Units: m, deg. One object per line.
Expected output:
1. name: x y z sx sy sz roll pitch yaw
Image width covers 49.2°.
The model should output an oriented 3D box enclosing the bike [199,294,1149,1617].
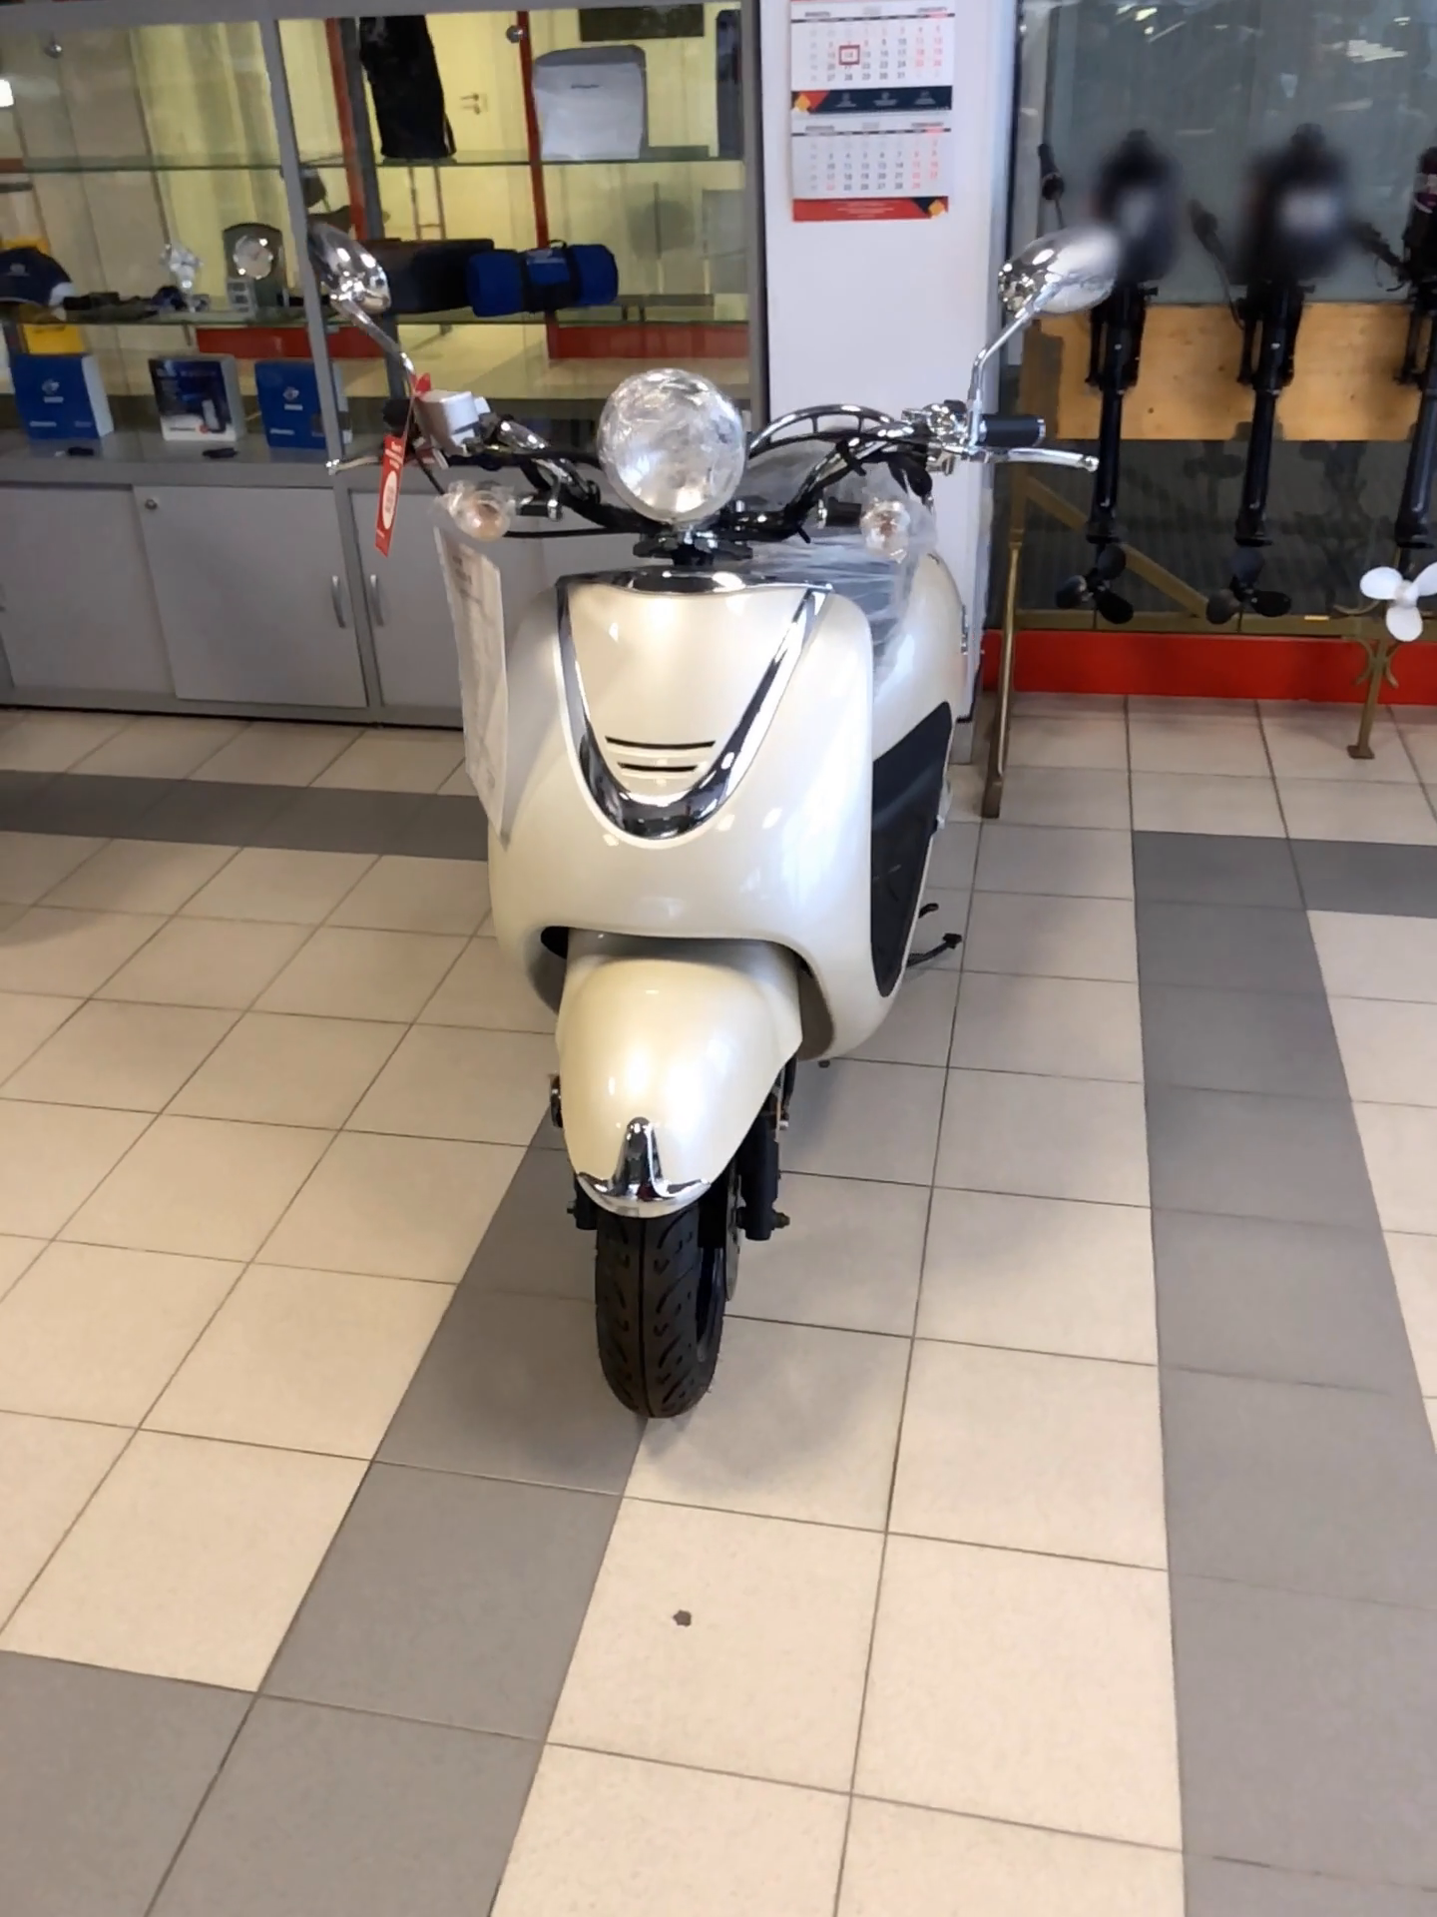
1. bike: 0.120 -0.235 2.196 0.805 0.963 1.691 4 33 12
